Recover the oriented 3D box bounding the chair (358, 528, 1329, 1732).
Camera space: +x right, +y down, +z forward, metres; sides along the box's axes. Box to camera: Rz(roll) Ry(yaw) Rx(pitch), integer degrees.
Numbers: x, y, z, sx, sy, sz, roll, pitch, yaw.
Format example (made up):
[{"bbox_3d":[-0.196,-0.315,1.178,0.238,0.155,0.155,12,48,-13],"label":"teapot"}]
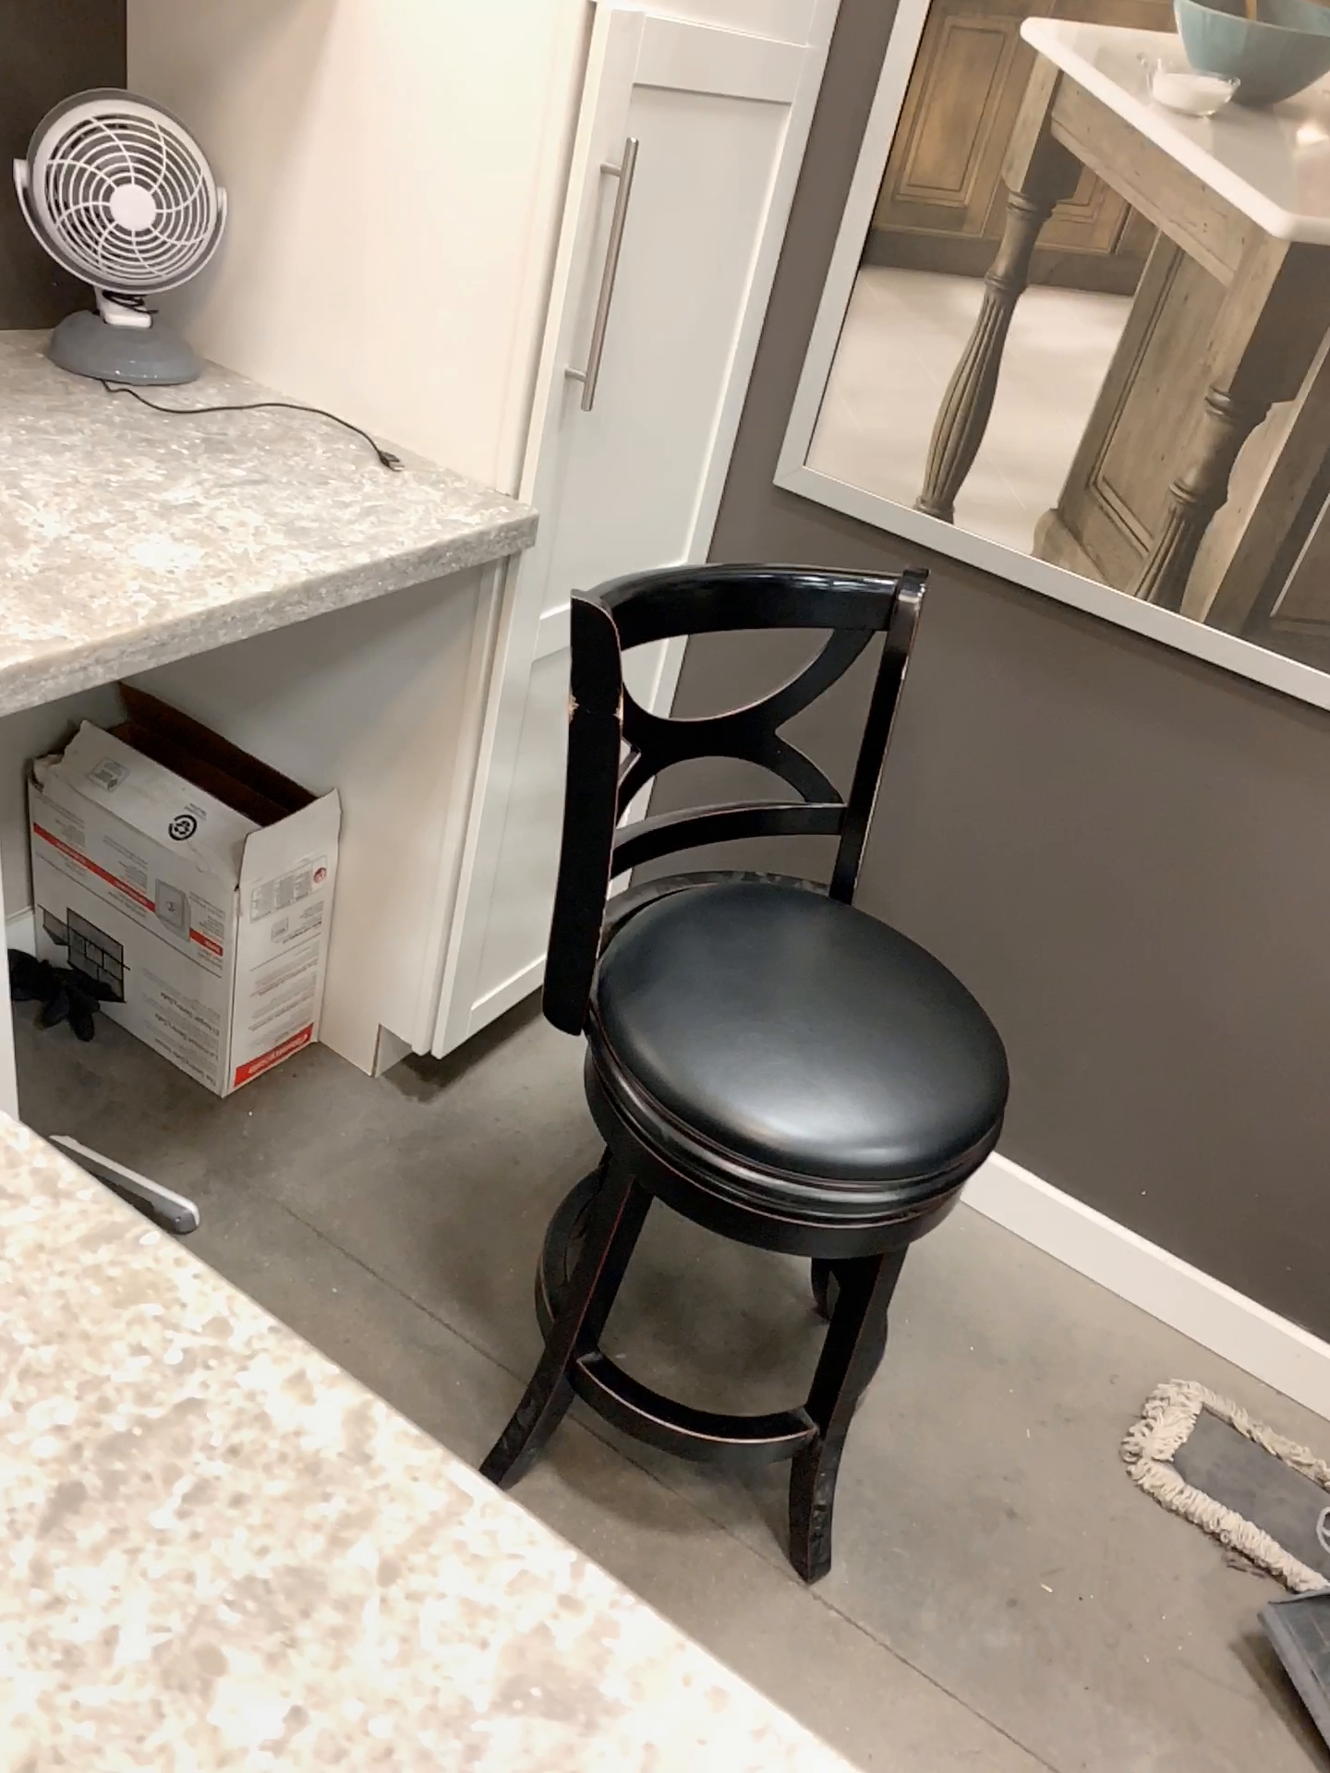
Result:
[{"bbox_3d":[0.120,0.204,1.371,0.559,0.912,0.606,-14,43,-36],"label":"chair"}]
